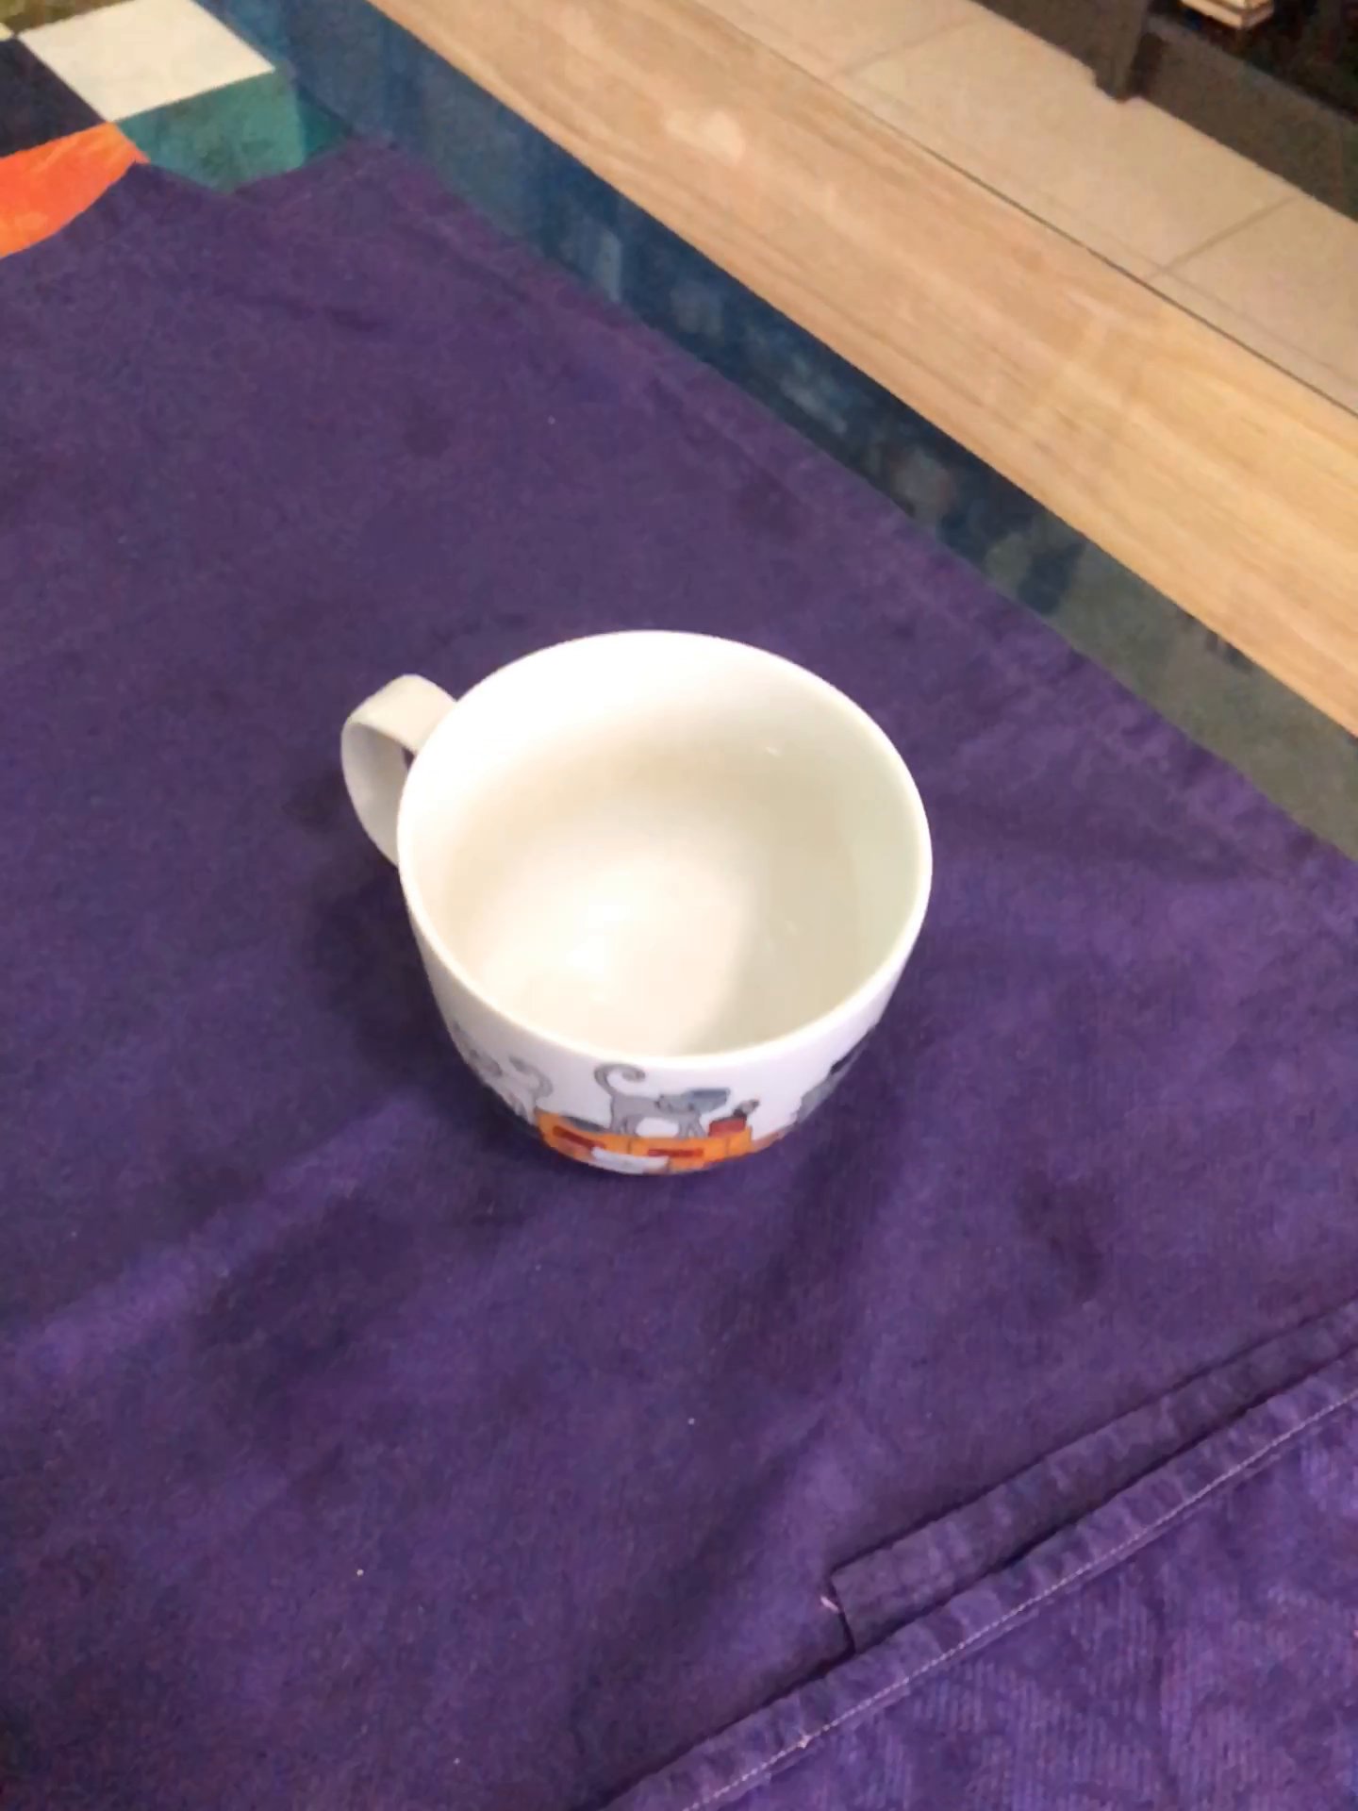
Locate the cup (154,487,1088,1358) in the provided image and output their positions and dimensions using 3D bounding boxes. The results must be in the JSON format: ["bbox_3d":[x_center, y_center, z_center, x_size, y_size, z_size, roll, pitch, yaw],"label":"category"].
[{"bbox_3d":[-0.012,-0.001,0.298,0.140,0.070,0.090,34,60,19],"label":"cup"}]
